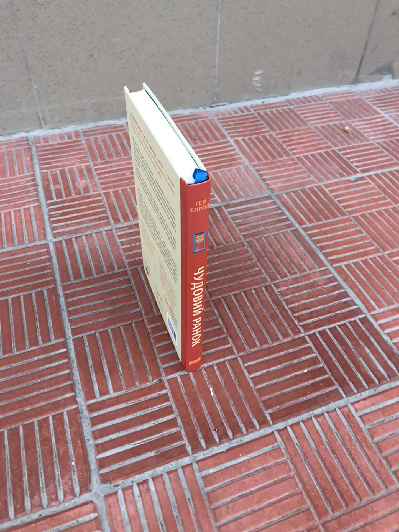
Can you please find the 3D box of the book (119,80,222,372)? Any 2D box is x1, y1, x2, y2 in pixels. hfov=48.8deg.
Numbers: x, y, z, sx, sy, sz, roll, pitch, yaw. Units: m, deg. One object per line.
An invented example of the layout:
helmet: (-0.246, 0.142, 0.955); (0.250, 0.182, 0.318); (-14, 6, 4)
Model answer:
book: (-0.026, -0.027, 0.367); (0.025, 0.196, 0.145); (-15, 48, -15)
